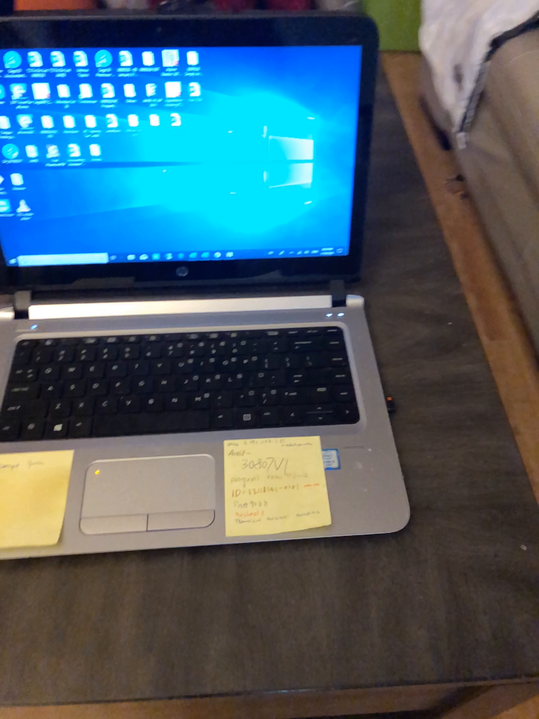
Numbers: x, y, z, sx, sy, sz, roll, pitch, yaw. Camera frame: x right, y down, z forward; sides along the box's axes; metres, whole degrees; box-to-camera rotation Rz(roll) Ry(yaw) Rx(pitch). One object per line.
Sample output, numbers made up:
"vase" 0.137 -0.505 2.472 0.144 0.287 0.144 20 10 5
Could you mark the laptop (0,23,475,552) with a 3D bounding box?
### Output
"laptop" -0.083 -0.060 0.423 0.319 0.208 0.308 -2 52 -3
